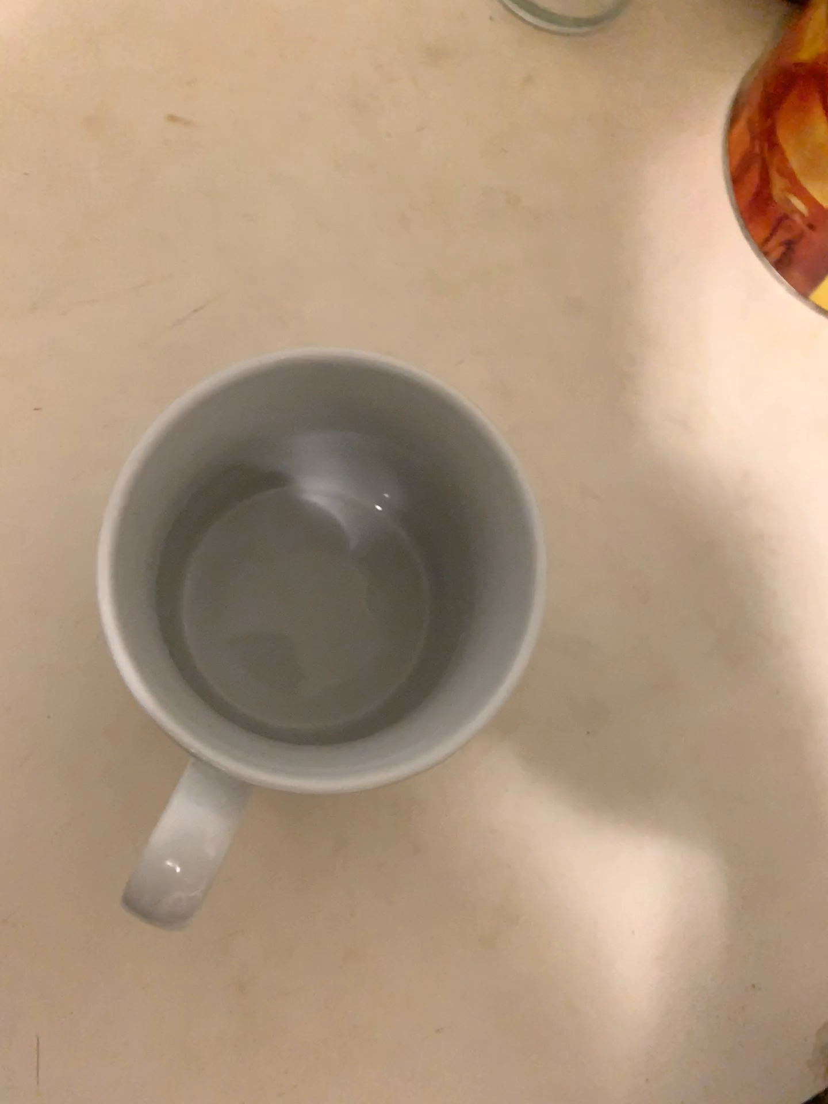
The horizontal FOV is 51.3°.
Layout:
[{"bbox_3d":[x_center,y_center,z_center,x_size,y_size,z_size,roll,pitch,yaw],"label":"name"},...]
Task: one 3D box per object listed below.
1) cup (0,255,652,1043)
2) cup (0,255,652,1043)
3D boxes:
[{"bbox_3d":[-0.027,0.024,0.229,0.100,0.110,0.130,25,79,-6],"label":"cup"},{"bbox_3d":[-0.027,0.024,0.229,0.100,0.110,0.130,25,79,-6],"label":"cup"}]
